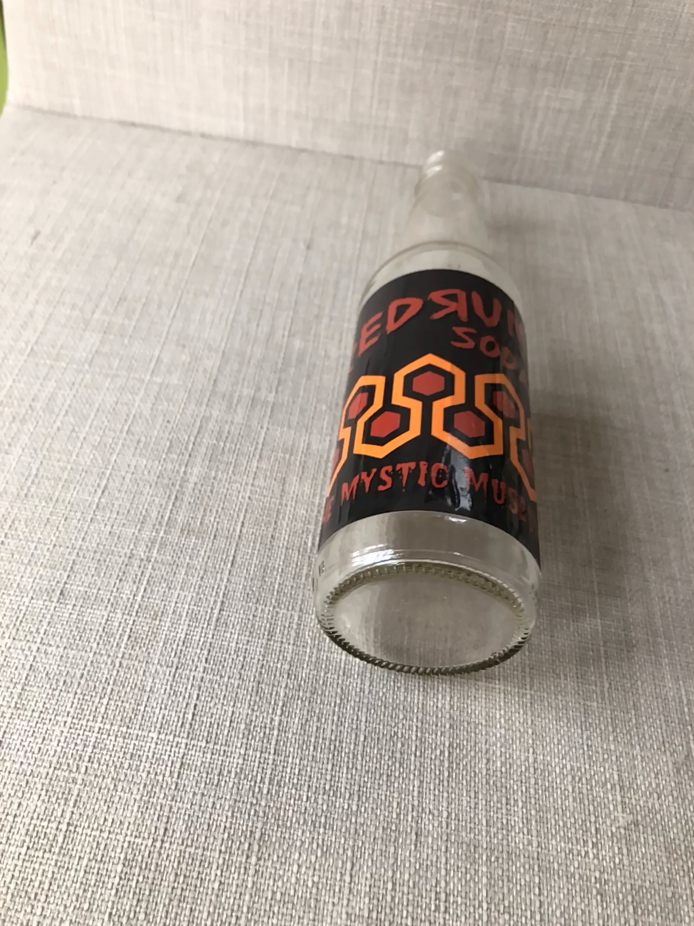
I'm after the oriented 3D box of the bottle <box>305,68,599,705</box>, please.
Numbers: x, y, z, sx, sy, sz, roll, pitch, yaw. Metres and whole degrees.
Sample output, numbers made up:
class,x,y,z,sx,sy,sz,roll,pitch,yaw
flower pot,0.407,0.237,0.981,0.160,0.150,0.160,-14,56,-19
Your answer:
class,x,y,z,sx,sy,sz,roll,pitch,yaw
bottle,0.033,-0.046,0.267,0.062,0.069,0.232,7,50,2
